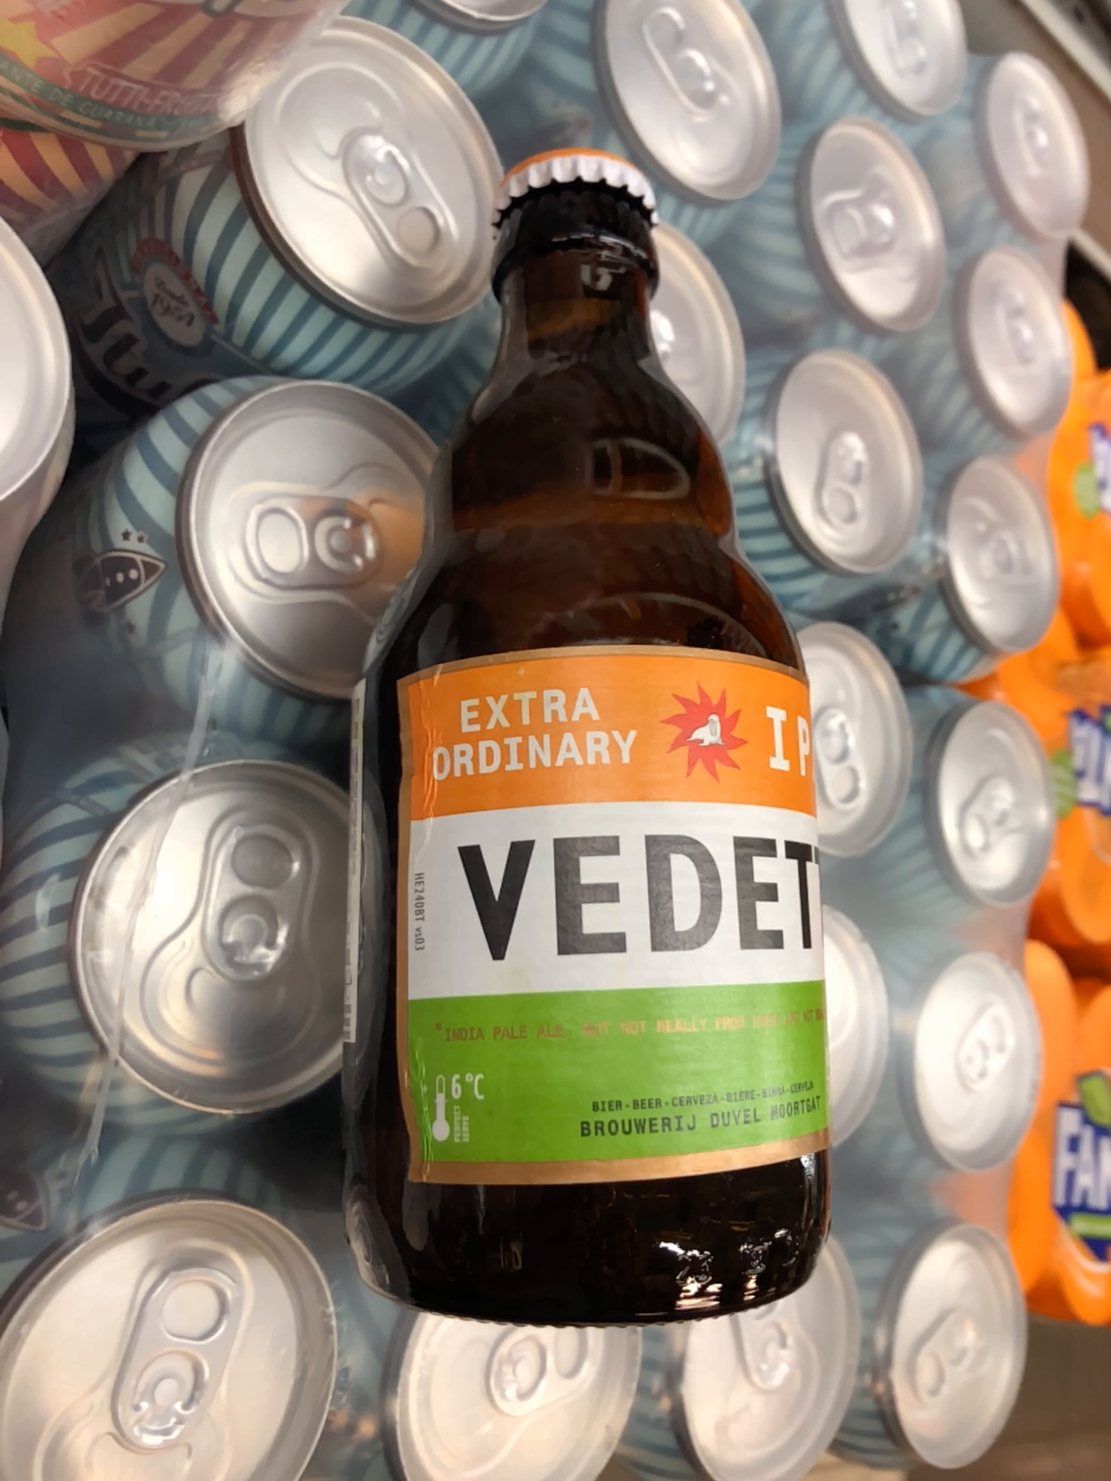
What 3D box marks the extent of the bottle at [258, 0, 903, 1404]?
[{"bbox_3d":[0.006,-0.016,0.192,0.070,0.060,0.190,8,79,-38],"label":"bottle"}]
